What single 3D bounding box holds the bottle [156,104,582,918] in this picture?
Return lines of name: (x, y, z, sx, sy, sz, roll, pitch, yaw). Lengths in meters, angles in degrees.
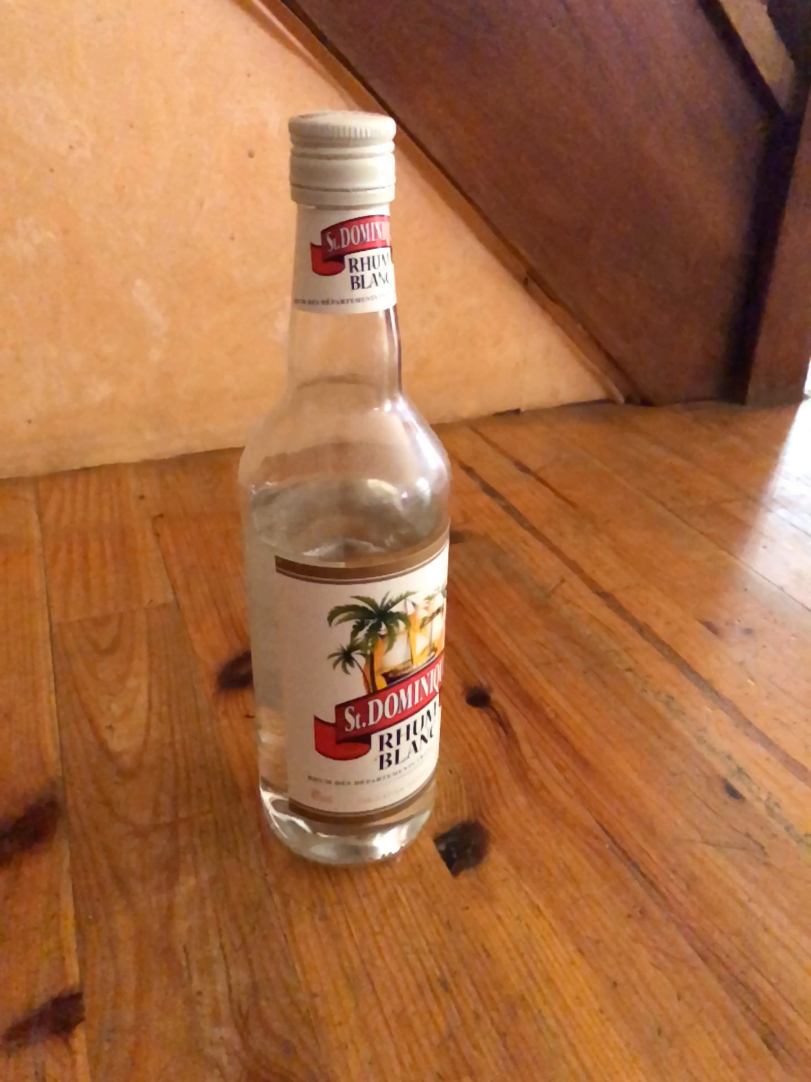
bottle: (-0.013, -0.005, 0.313, 0.090, 0.258, 0.080, -18, 34, -31)
